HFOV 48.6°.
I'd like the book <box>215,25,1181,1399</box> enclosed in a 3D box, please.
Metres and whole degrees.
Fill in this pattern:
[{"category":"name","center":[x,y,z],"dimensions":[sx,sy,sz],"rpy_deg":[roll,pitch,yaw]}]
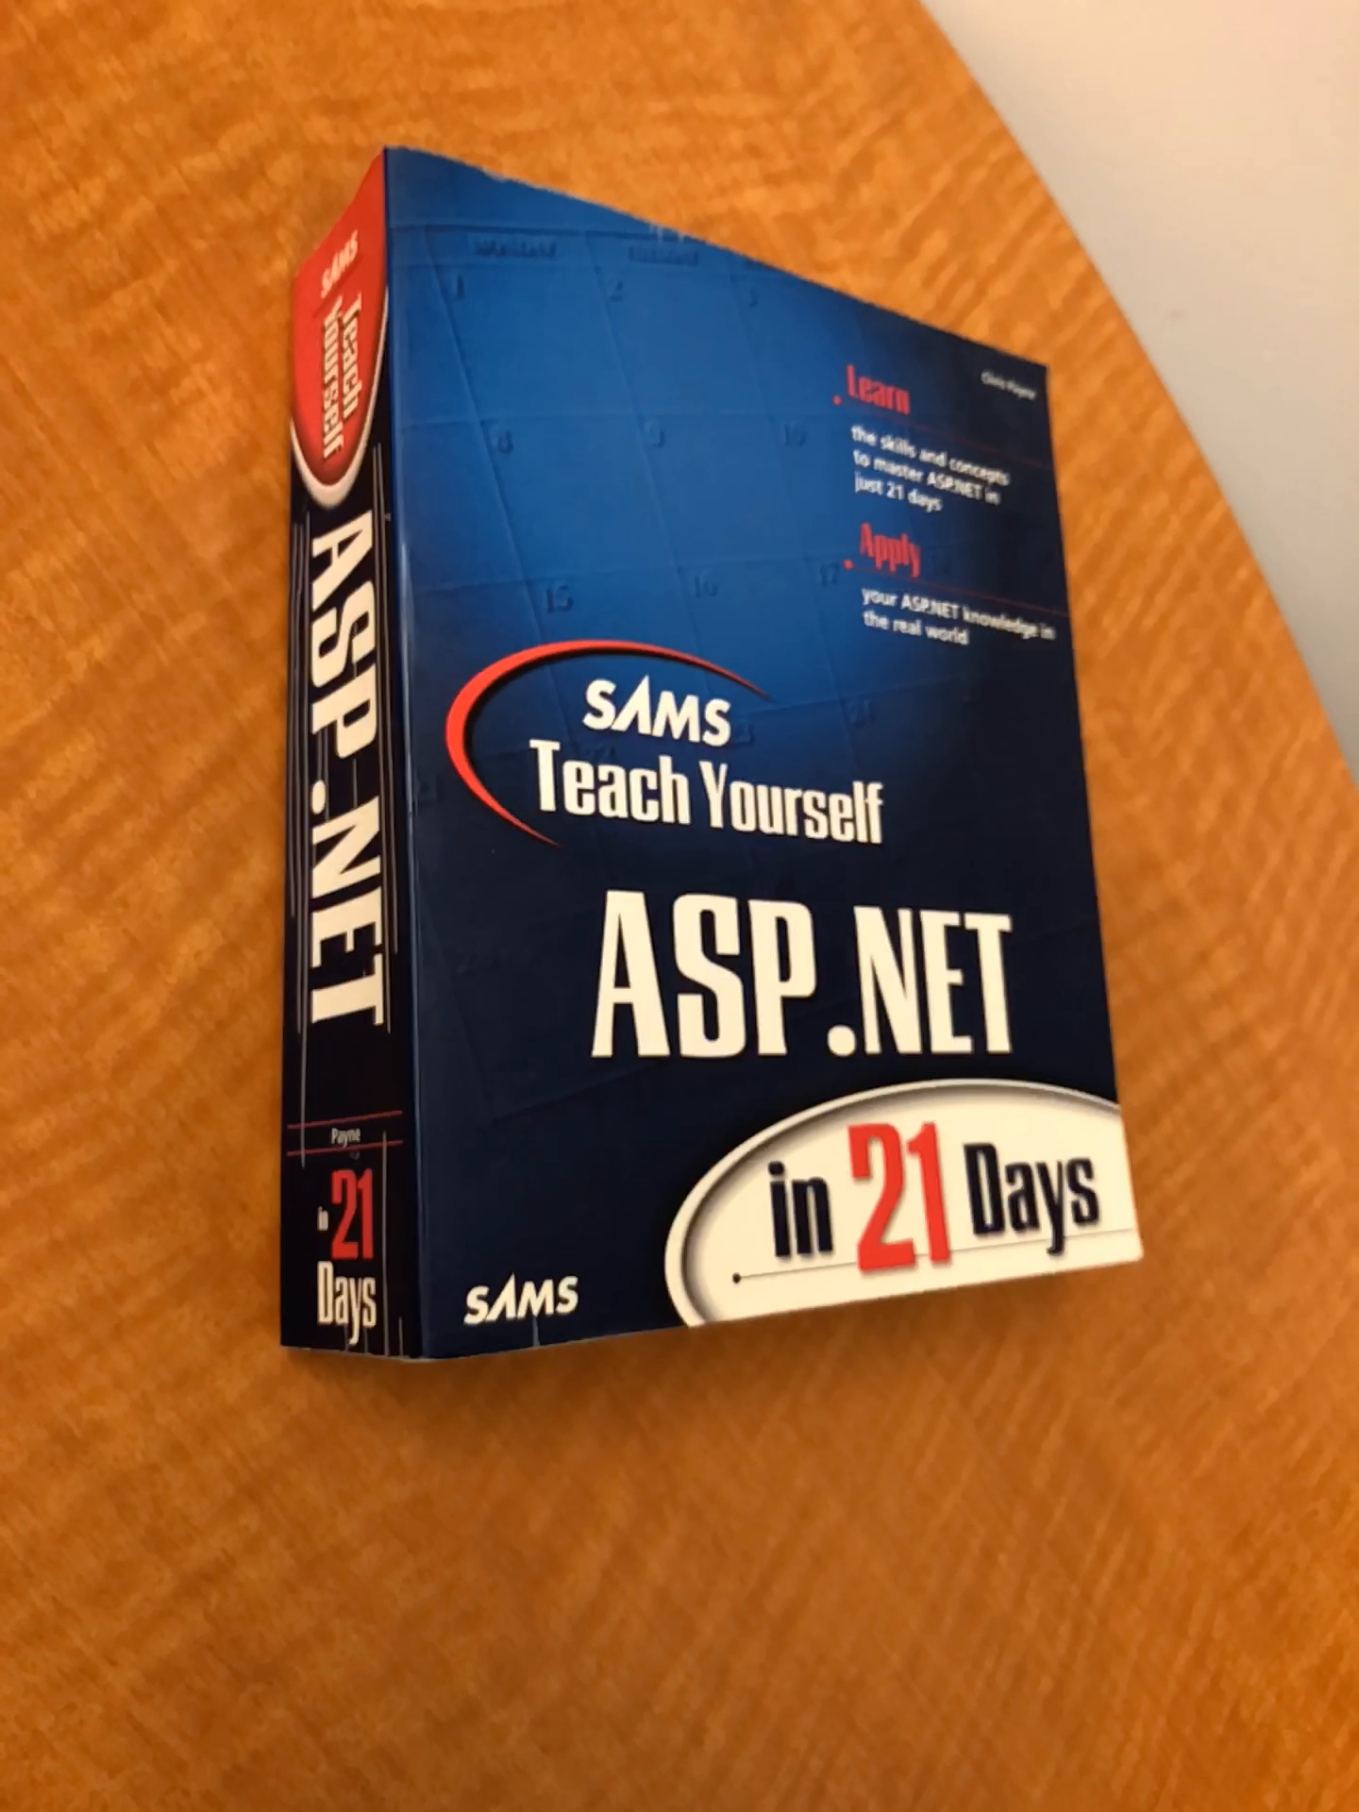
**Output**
[{"category":"book","center":[0.011,-0.028,0.338],"dimensions":[0.201,0.070,0.240],"rpy_deg":[7,77,-35]}]
